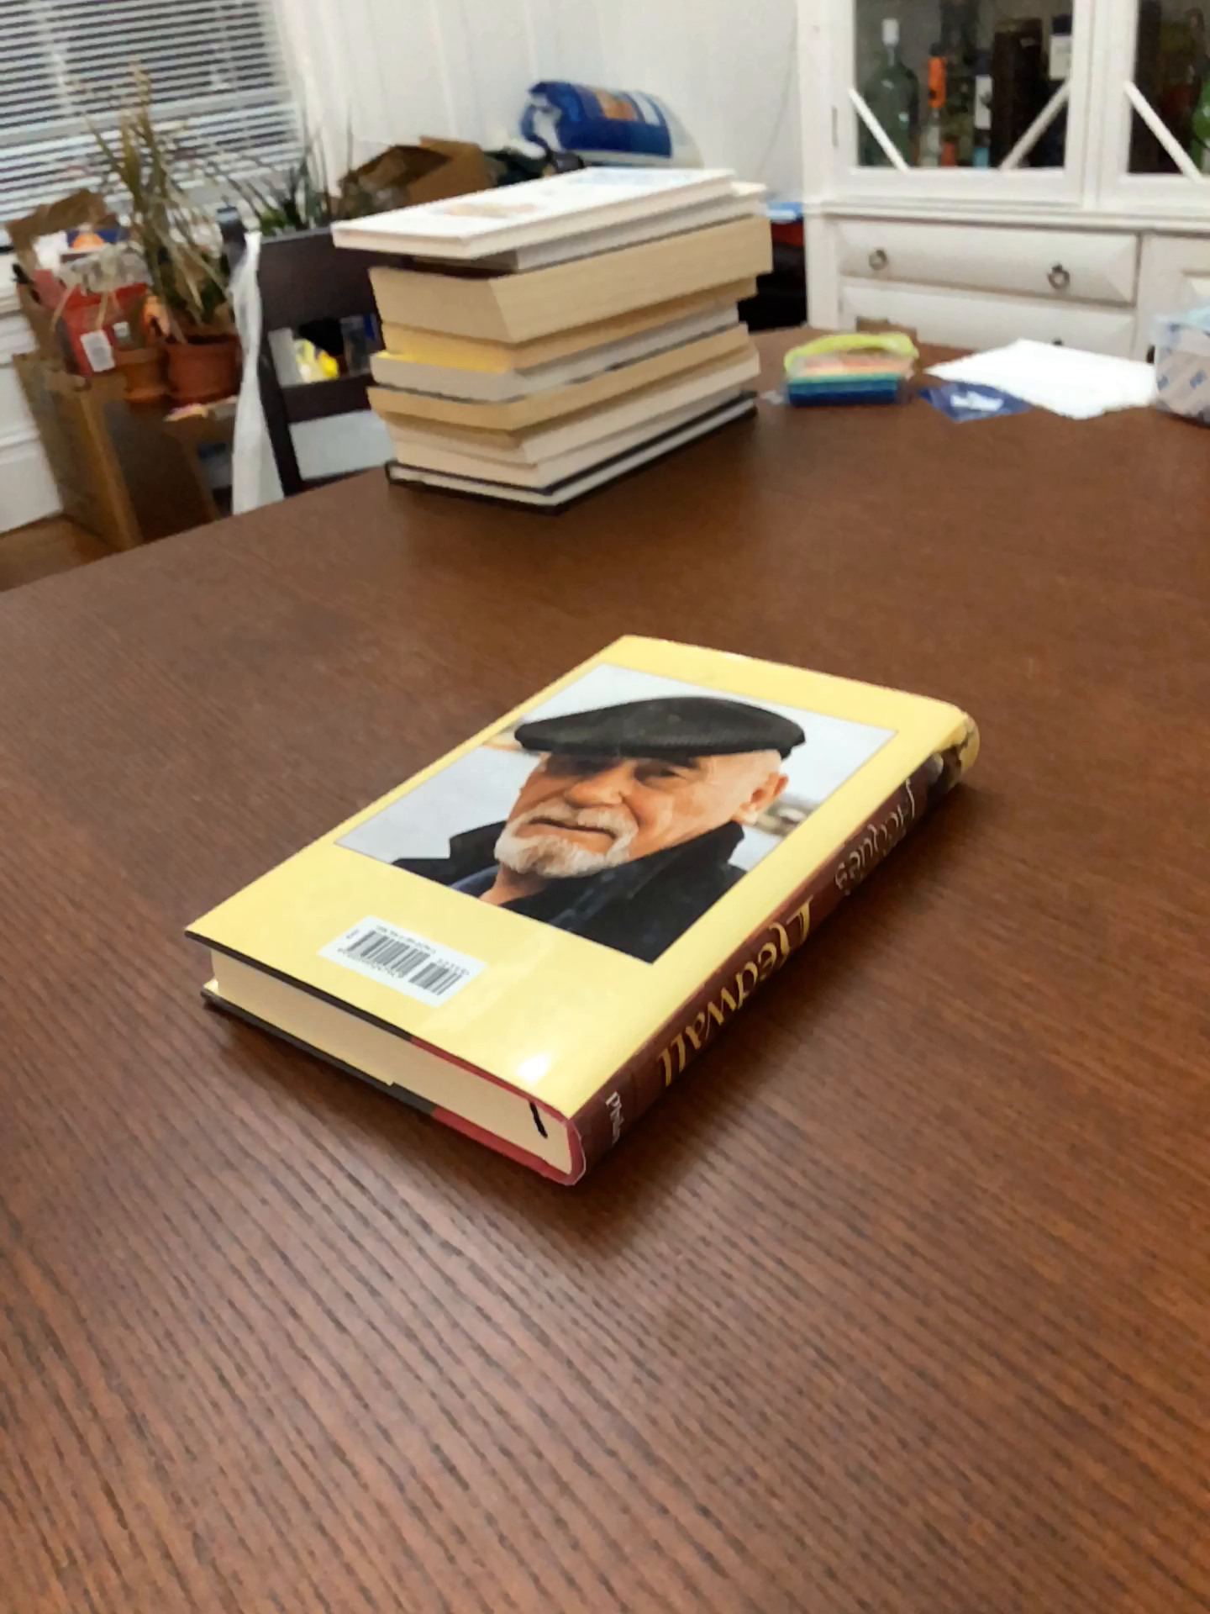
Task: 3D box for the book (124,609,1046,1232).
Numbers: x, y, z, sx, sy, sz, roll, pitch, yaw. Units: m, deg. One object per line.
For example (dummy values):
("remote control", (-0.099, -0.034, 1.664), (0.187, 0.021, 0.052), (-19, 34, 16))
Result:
("book", (0.004, 0.008, 0.446), (0.190, 0.030, 0.251), (17, 38, 35))
